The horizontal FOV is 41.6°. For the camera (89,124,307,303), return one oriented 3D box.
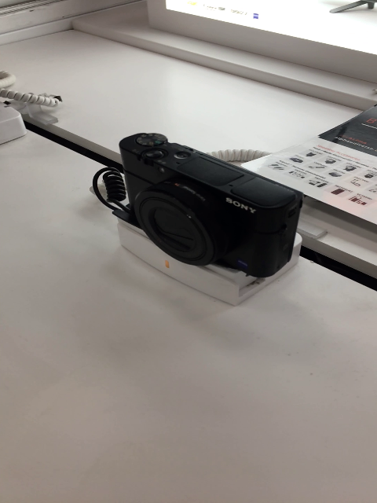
[{"bbox_3d":[0.002,-0.022,0.274,0.106,0.066,0.032,29,56,28],"label":"camera"}]
